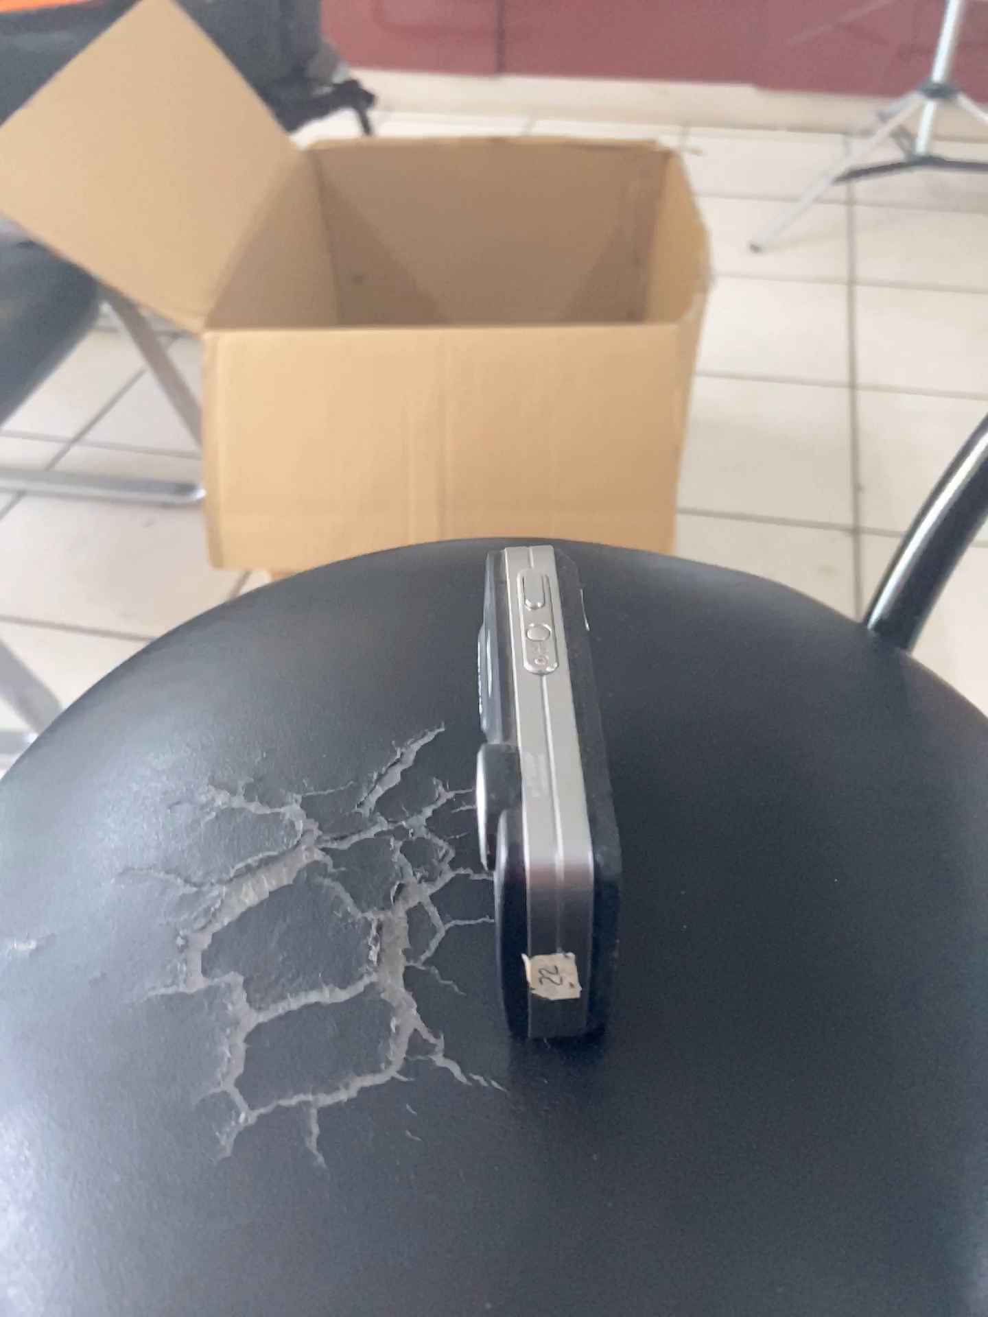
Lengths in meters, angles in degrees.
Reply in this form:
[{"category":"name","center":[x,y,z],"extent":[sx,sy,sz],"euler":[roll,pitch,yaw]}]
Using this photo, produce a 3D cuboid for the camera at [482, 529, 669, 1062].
[{"category":"camera","center":[0.014,0.026,0.227],"extent":[0.030,0.060,0.101],"euler":[-2,43,0]}]
